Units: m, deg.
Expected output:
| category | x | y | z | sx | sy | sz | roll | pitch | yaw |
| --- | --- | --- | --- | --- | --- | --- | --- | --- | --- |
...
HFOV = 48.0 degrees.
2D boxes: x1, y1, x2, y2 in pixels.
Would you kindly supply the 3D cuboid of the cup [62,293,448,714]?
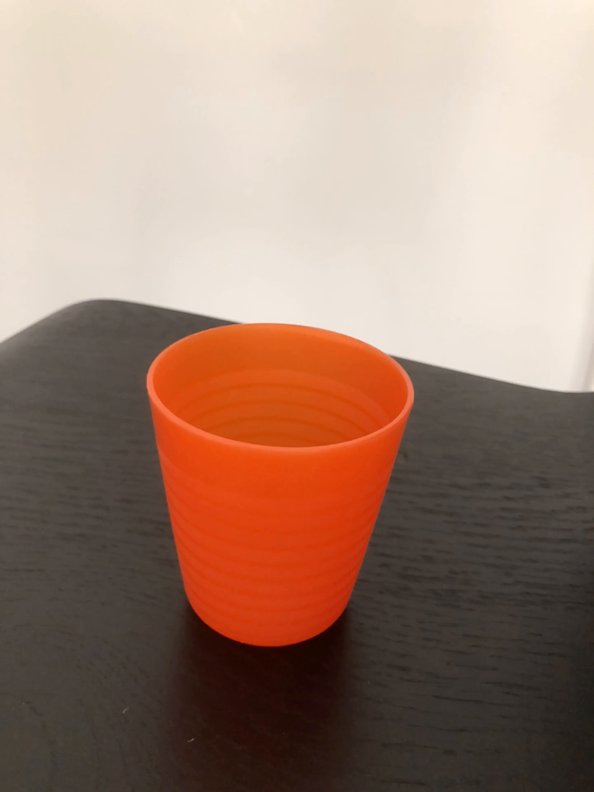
| category | x | y | z | sx | sy | sz | roll | pitch | yaw |
| --- | --- | --- | --- | --- | --- | --- | --- | --- | --- |
| cup | -0.007 | 0.025 | 0.207 | 0.080 | 0.080 | 0.080 | 0 | 29 | 0 |
